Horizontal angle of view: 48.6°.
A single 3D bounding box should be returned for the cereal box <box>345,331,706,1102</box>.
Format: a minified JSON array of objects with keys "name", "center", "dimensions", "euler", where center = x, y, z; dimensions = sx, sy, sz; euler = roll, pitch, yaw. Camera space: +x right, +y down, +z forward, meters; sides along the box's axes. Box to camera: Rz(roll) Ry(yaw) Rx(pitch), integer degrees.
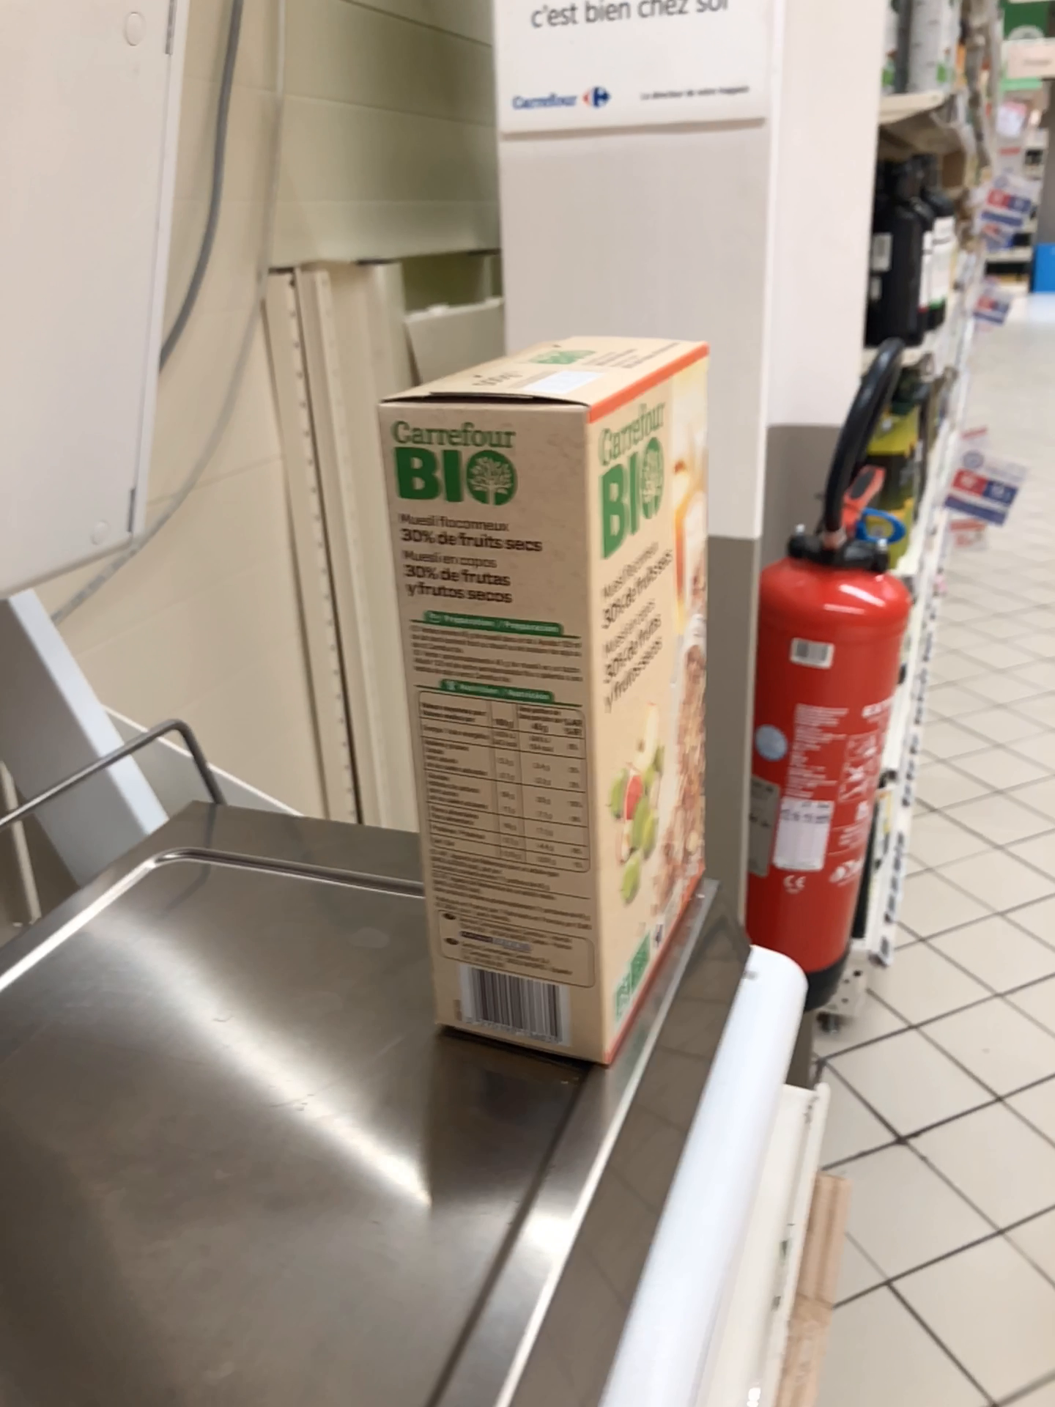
[{"name":"cereal box","center":[0.009,-0.004,0.380],"dimensions":[0.060,0.209,0.131],"euler":[8,26,20]}]
